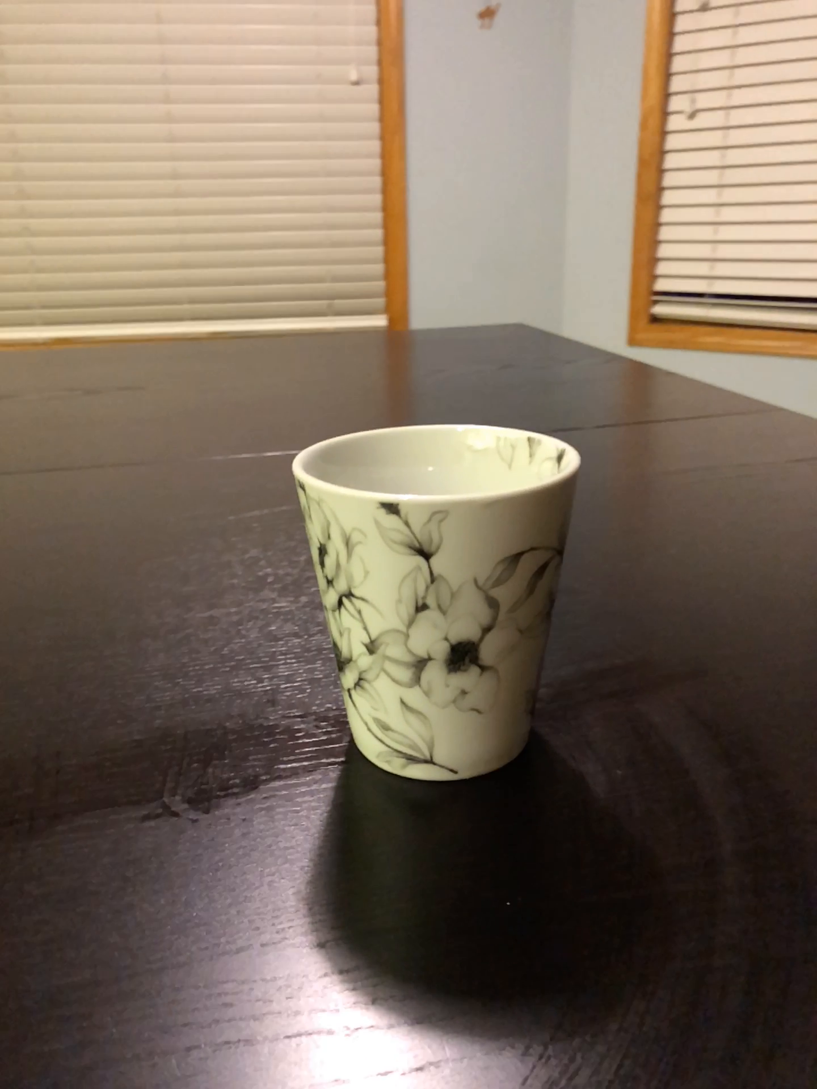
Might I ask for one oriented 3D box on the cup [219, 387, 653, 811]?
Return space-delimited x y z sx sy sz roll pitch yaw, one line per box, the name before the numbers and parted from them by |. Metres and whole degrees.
cup | 0.004 0.006 0.328 0.100 0.100 0.120 -12 22 -28
